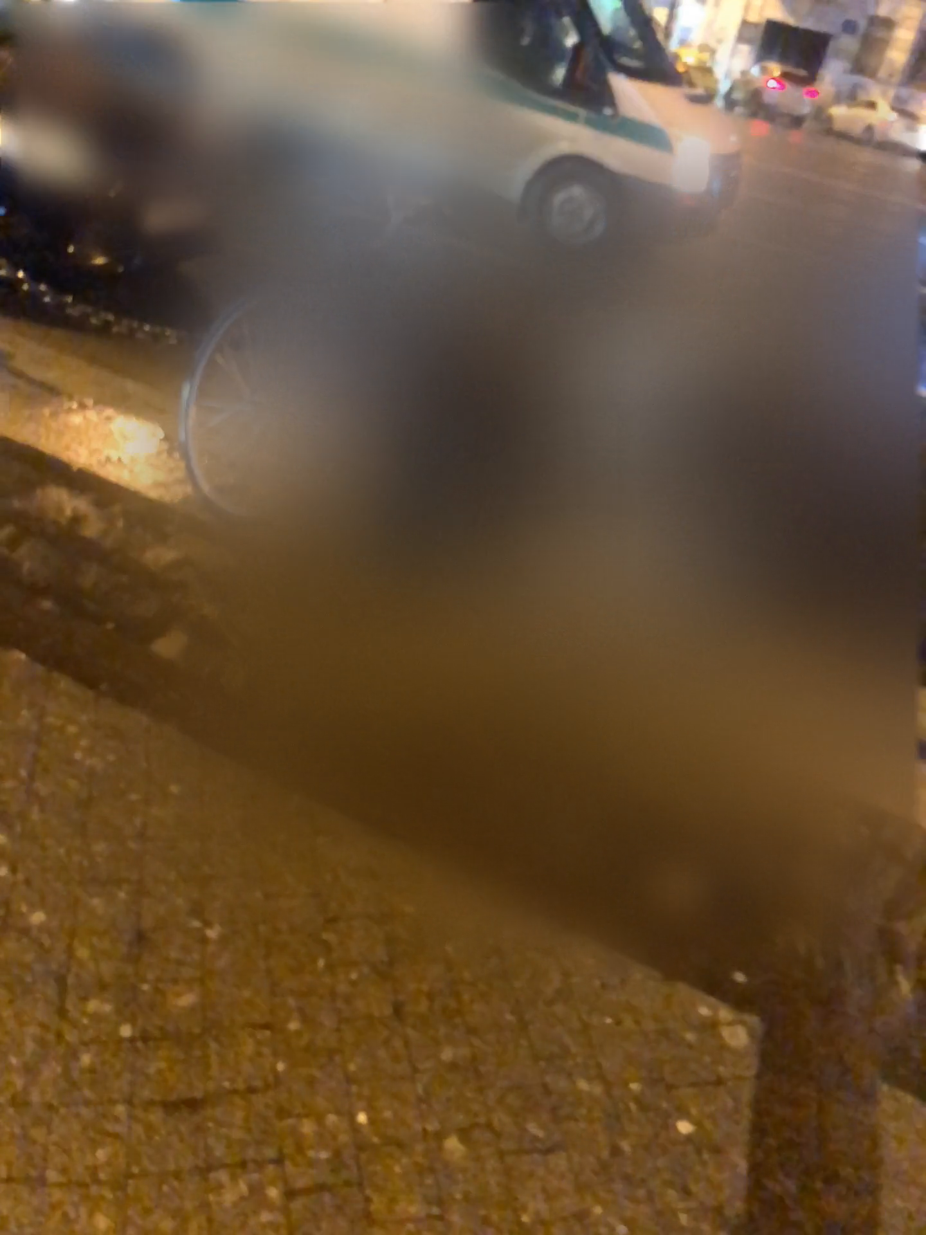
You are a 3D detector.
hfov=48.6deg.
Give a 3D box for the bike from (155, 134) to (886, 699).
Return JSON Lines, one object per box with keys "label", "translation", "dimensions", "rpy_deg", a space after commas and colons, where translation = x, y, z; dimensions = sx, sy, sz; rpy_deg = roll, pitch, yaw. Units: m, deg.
{"label": "bike", "translation": [0.053, -0.623, 2.800], "dimensions": [1.749, 0.961, 0.555], "rpy_deg": [22, 30, 19]}
